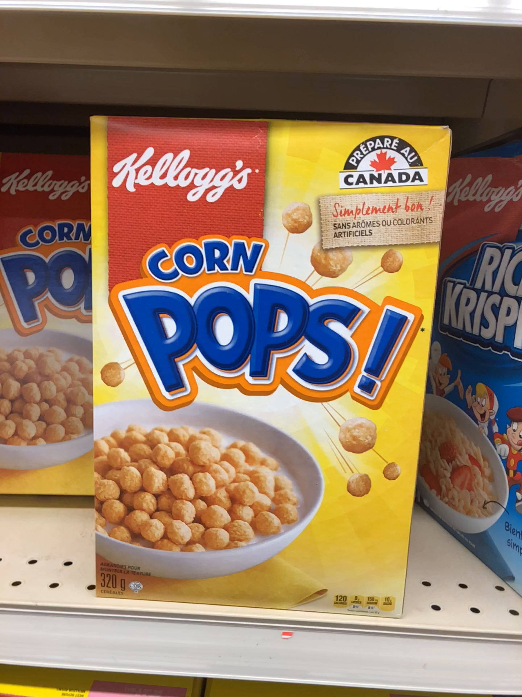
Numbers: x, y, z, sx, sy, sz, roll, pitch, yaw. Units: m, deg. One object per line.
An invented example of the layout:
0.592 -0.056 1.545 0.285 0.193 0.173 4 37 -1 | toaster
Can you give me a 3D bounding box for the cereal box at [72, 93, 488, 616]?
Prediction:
0.004 0.008 0.352 0.210 0.289 0.060 3 13 3 | cereal box
